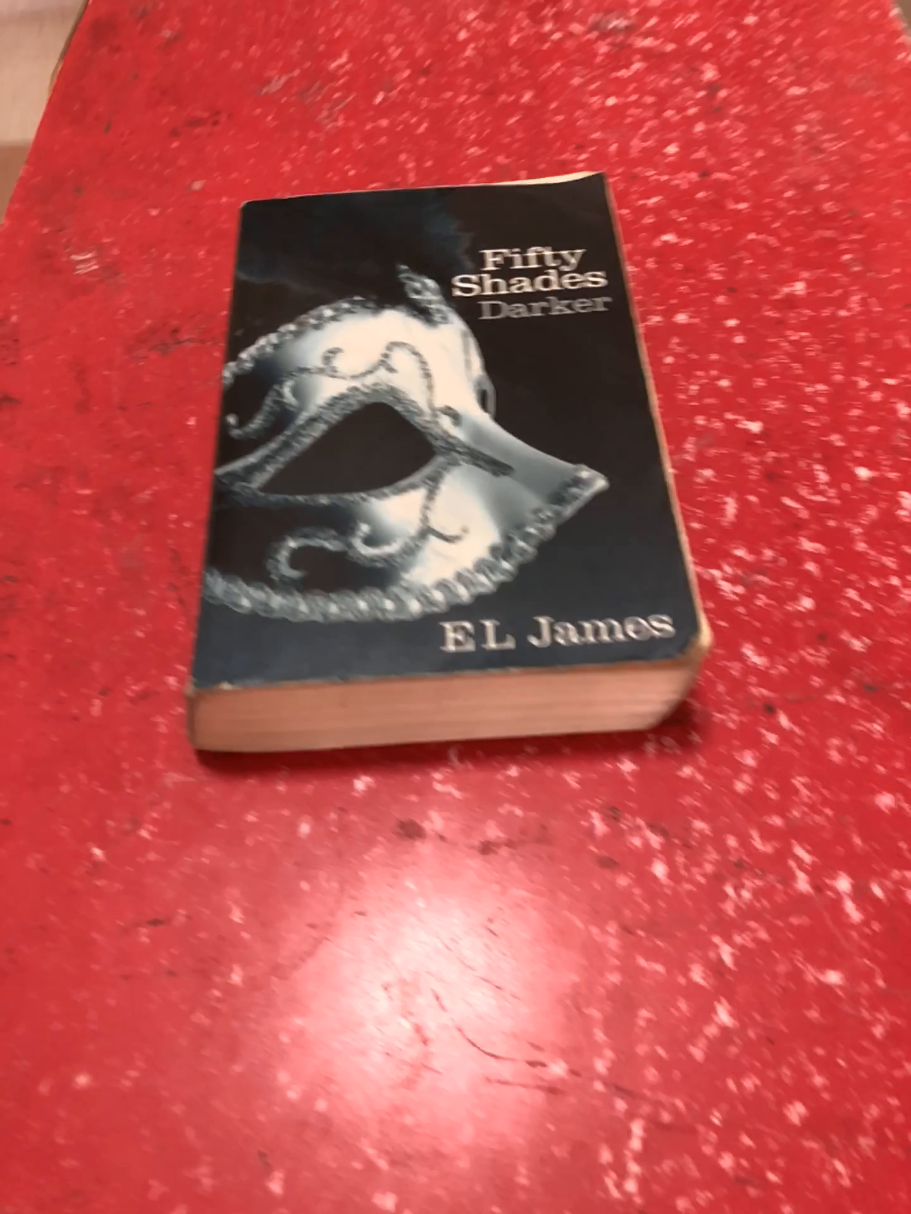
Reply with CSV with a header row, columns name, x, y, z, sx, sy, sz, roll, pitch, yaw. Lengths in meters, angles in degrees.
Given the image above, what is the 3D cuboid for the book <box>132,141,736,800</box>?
name,x,y,z,sx,sy,sz,roll,pitch,yaw
book,-0.008,-0.053,0.312,0.140,0.050,0.210,-4,57,2
